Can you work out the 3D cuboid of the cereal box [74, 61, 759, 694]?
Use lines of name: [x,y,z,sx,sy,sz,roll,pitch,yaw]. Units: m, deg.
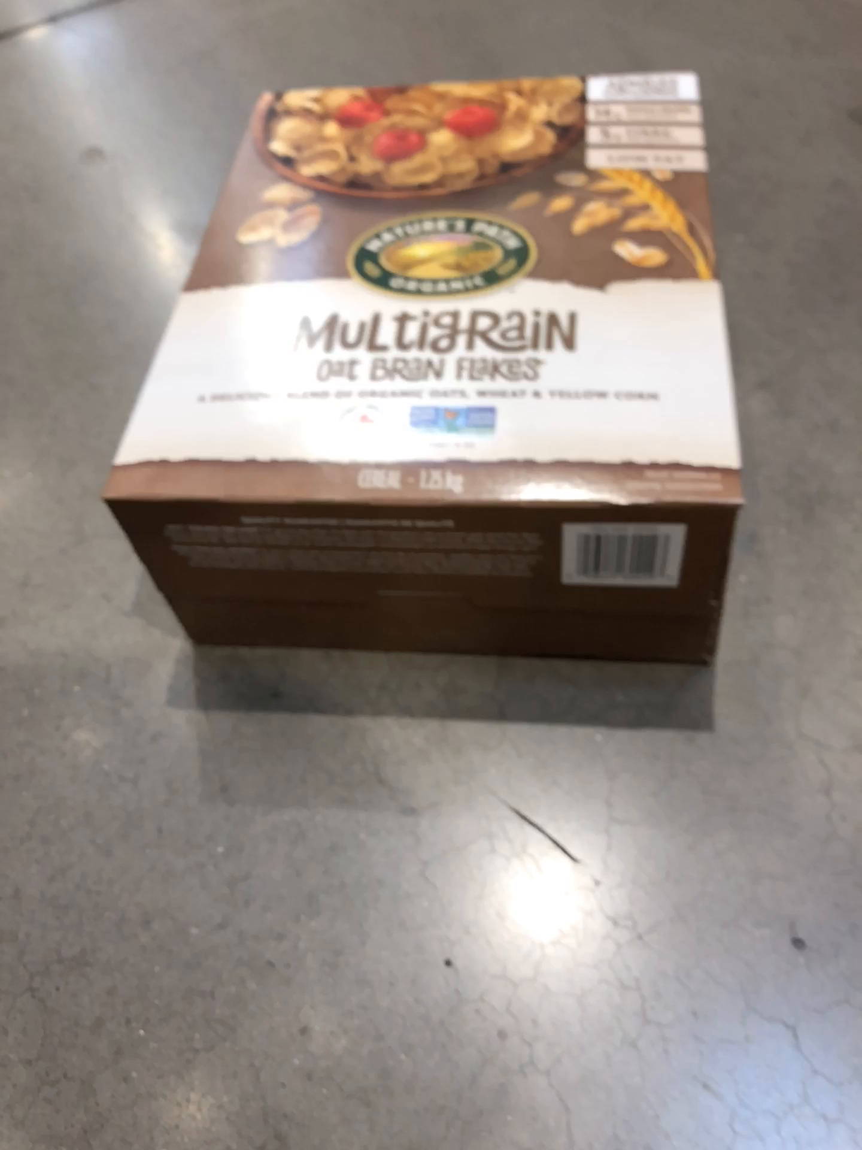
cereal box: [0.012,-0.112,0.471,0.240,0.110,0.311,2,53,9]
